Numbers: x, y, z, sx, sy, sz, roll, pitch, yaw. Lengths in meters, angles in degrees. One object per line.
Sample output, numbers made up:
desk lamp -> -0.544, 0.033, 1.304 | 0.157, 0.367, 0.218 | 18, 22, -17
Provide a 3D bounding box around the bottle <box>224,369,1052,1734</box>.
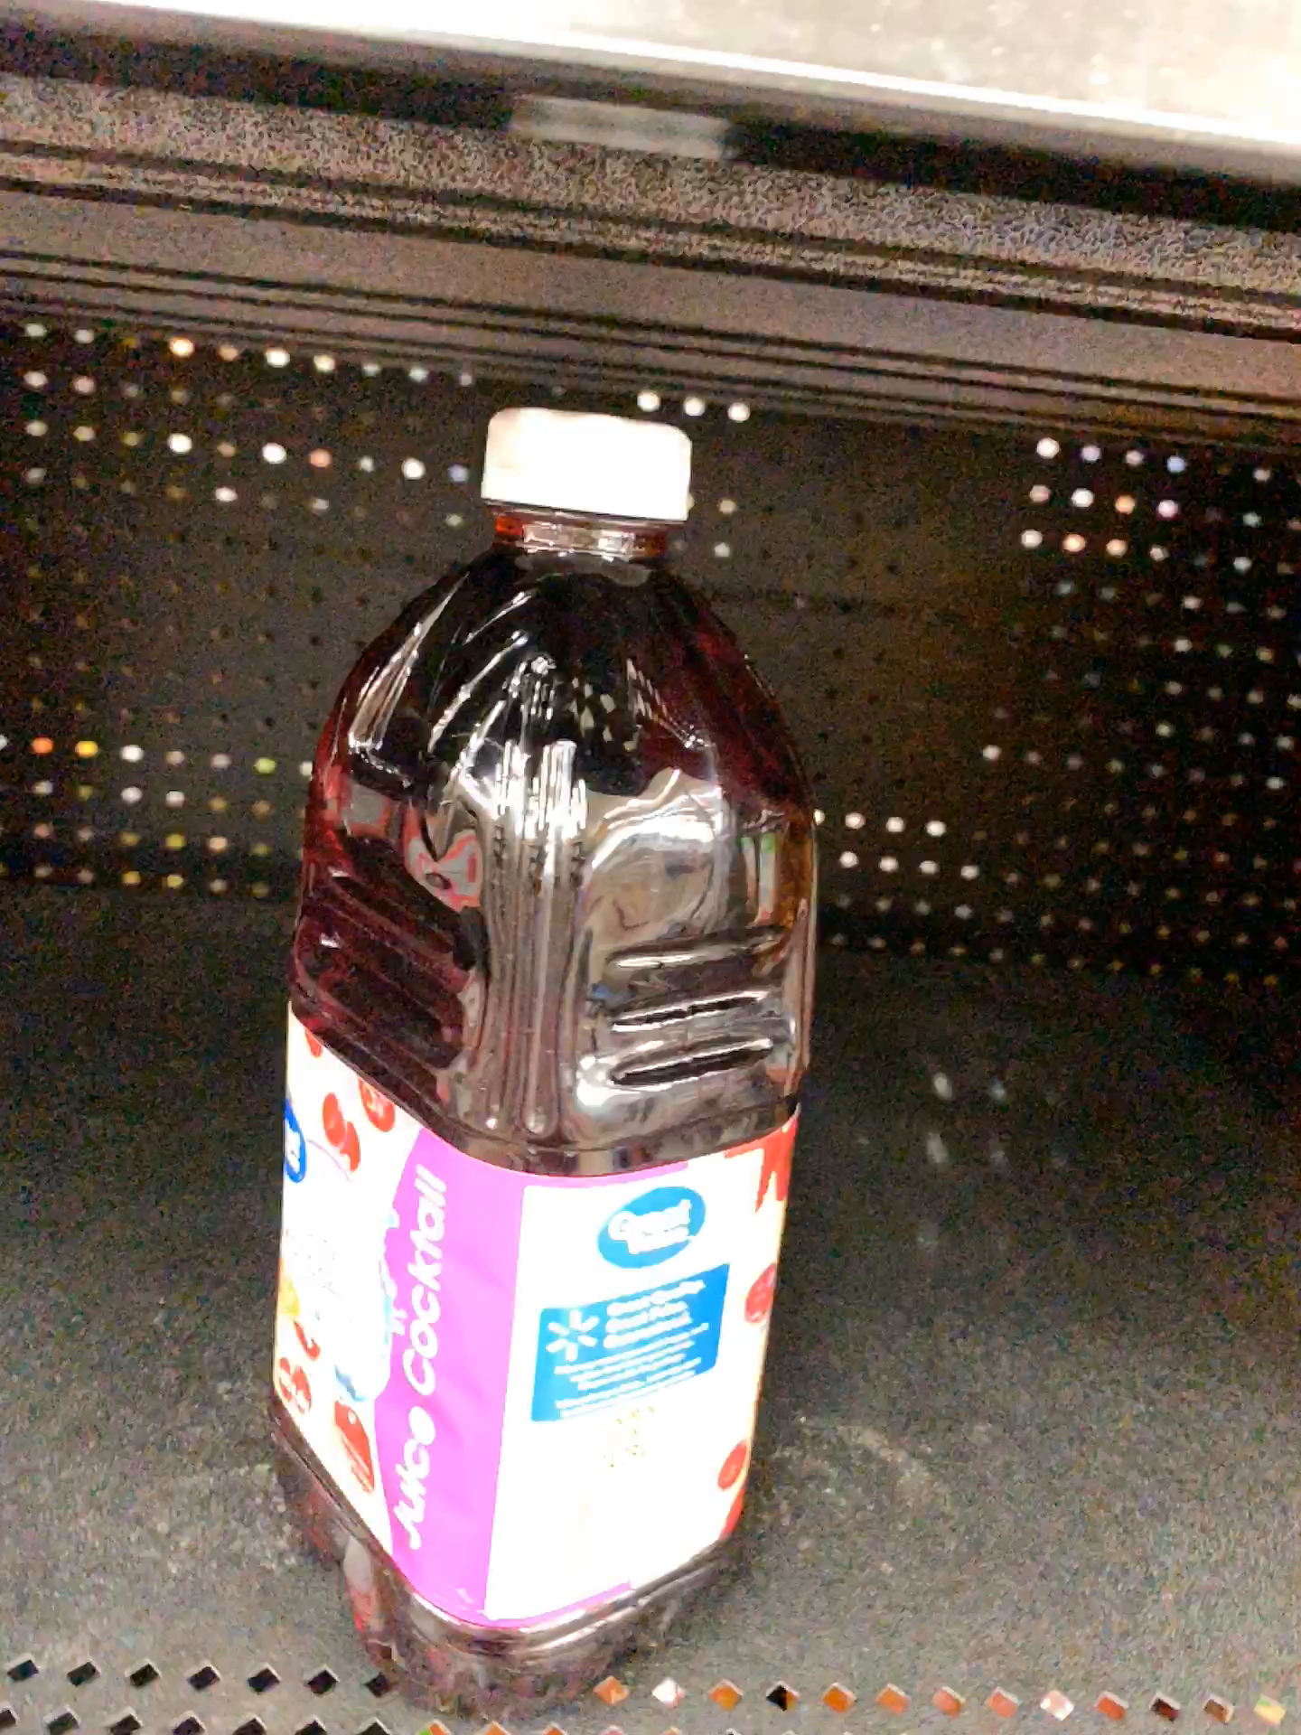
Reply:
bottle -> -0.019, 0.036, 0.296 | 0.100, 0.259, 0.125 | -8, 22, -38
